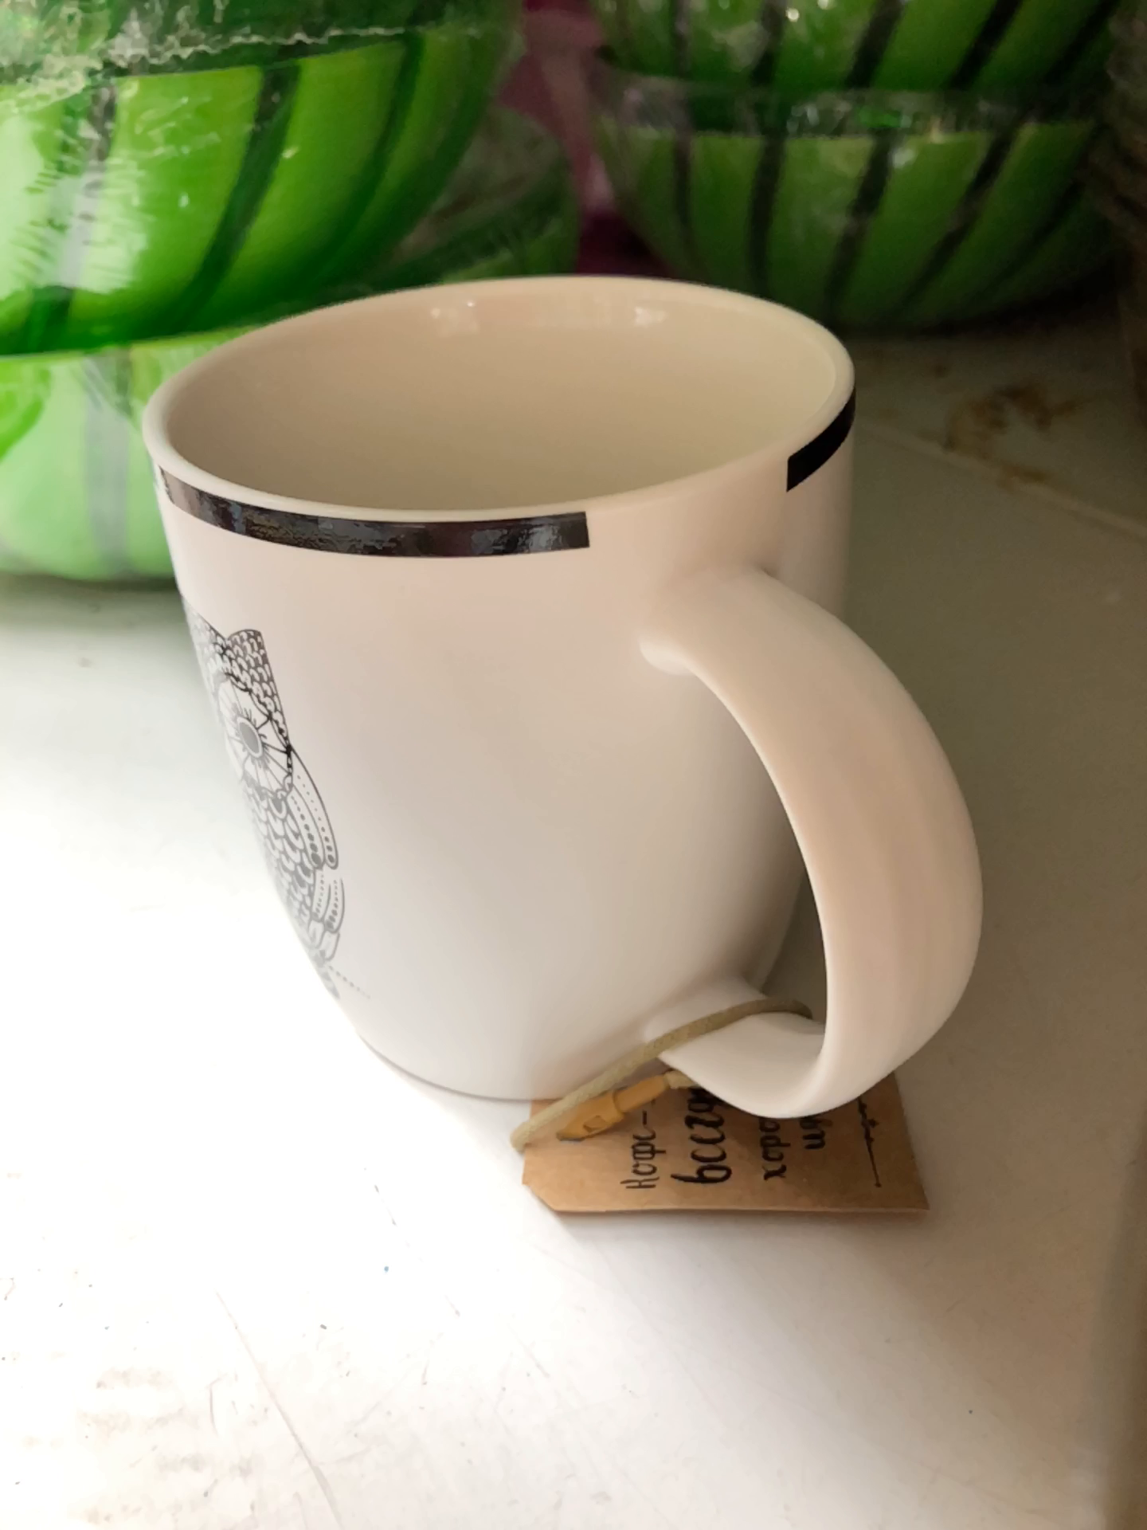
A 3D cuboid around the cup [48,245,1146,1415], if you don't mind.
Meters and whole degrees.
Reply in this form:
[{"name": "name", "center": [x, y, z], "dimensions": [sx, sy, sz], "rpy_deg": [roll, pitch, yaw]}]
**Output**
[{"name": "cup", "center": [0.000, -0.005, 0.172], "dimensions": [0.077, 0.093, 0.111], "rpy_deg": [-26, 39, -29]}]
